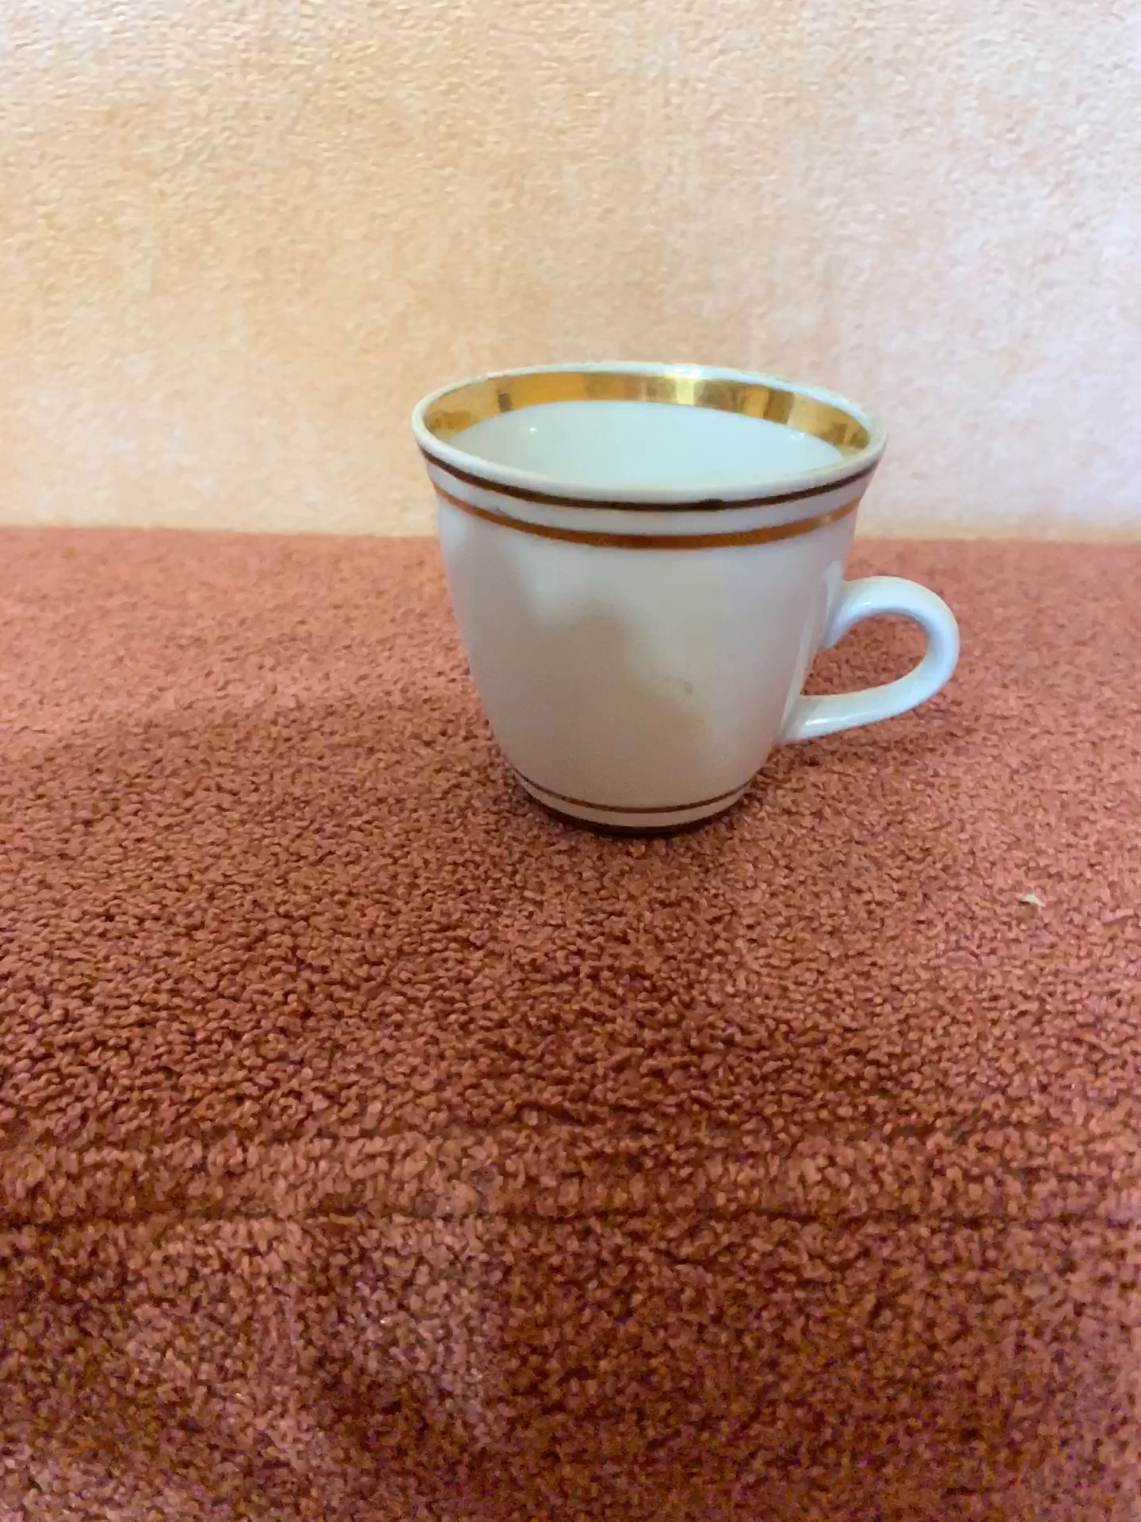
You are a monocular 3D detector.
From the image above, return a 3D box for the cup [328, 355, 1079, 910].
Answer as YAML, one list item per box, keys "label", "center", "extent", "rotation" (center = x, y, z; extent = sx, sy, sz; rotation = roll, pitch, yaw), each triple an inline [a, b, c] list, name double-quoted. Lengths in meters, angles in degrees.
- label: "cup"
  center: [0.017, -0.021, 0.160]
  extent: [0.078, 0.048, 0.055]
  rotation: [6, 32, 9]
